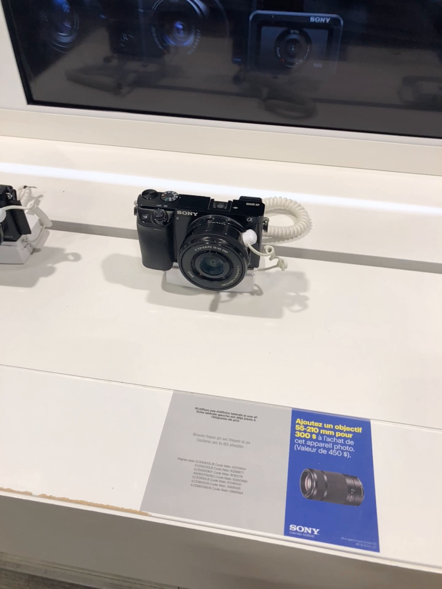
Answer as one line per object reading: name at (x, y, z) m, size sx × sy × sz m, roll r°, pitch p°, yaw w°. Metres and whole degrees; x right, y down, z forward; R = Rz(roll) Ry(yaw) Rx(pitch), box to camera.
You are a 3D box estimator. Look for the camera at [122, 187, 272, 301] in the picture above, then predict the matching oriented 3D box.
camera at (-0.019, -0.050, 0.477) m, size 0.130 × 0.077 × 0.065 m, roll 5°, pitch 43°, yaw 6°
